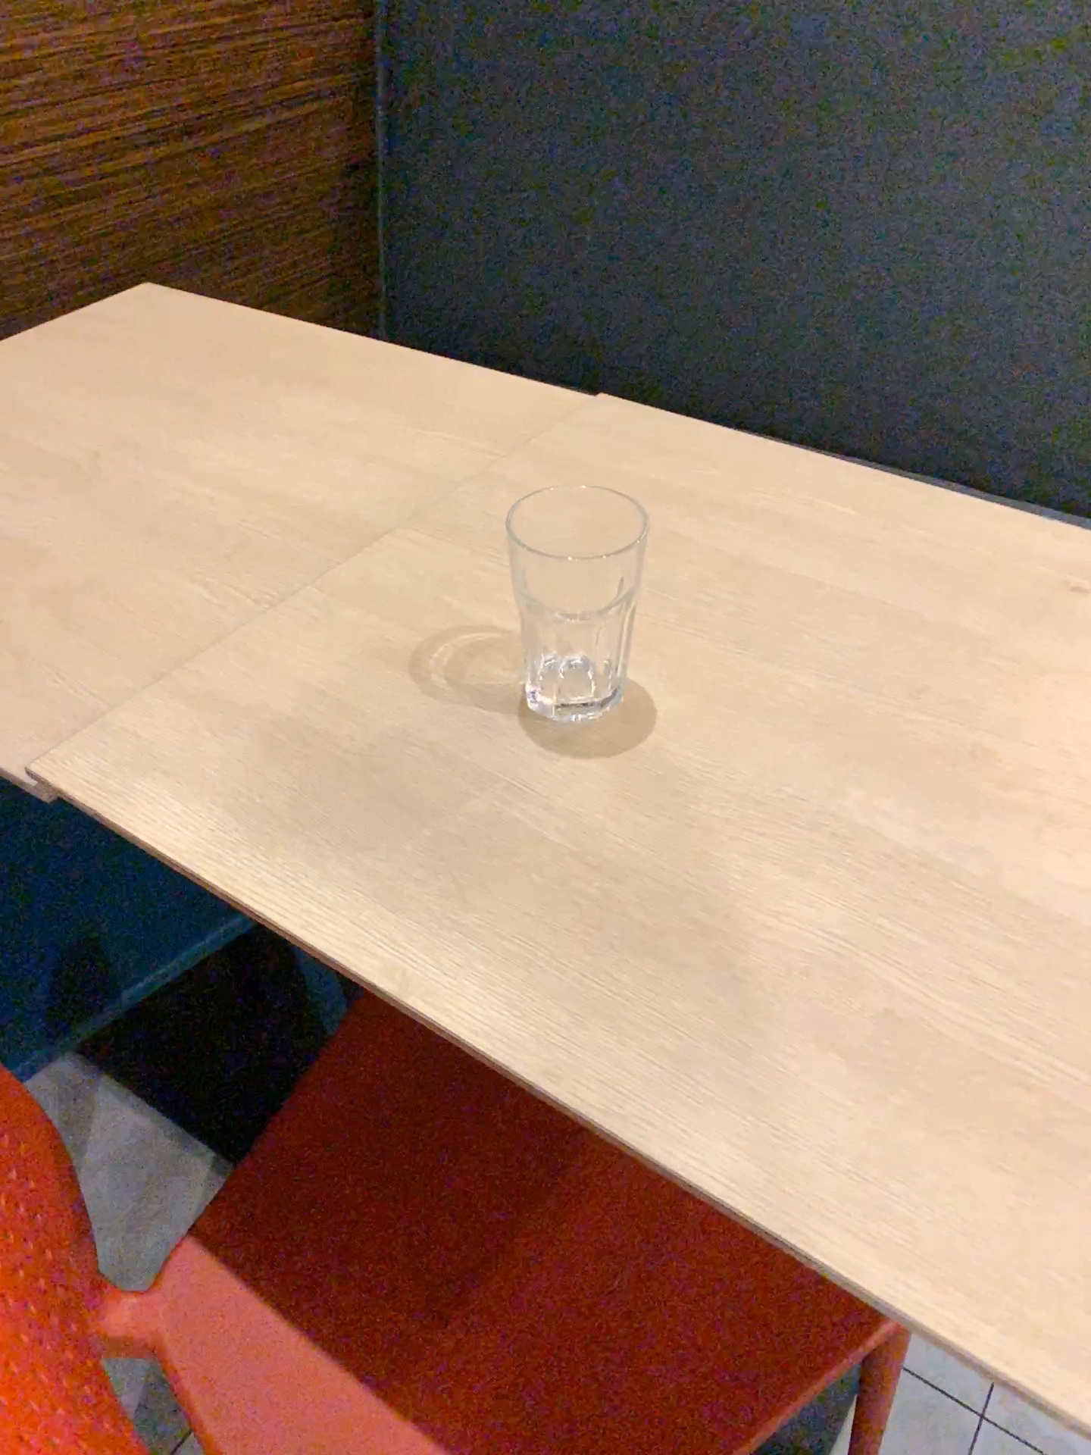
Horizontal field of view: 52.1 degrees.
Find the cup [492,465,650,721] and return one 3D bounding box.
[{"bbox_3d":[0.014,-0.076,0.633,0.080,0.119,0.080,0,39,0],"label":"cup"}]
